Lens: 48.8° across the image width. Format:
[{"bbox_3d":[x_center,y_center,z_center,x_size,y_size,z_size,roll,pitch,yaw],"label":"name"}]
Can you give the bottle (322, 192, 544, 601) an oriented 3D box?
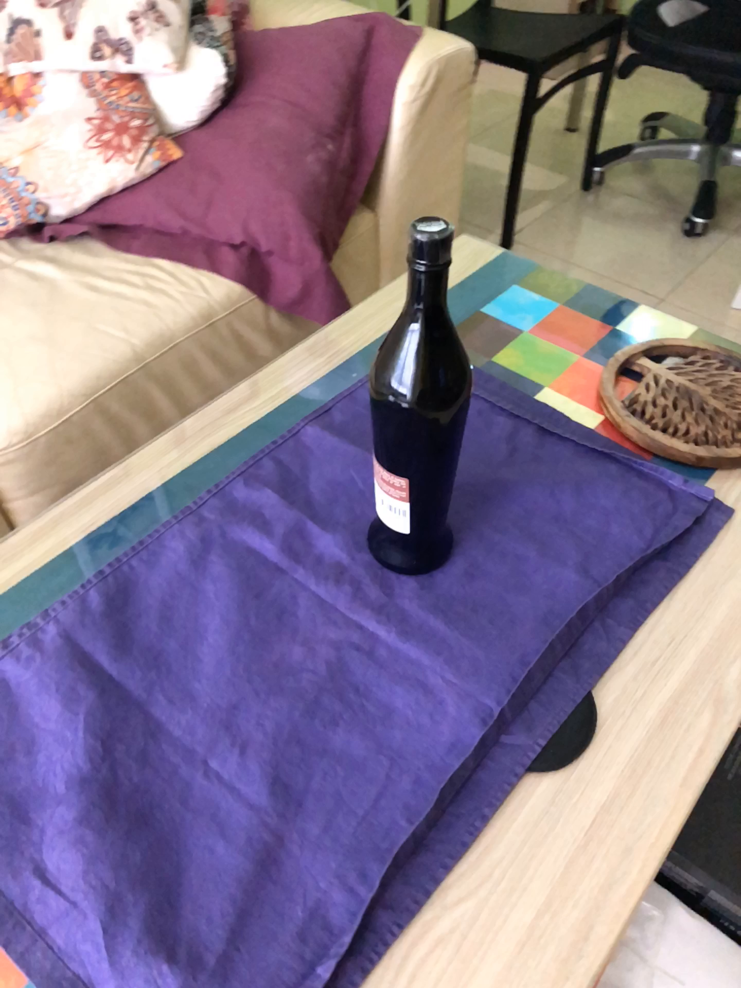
[{"bbox_3d":[0.036,-0.059,0.607,0.100,0.279,0.100,0,46,0],"label":"bottle"}]
